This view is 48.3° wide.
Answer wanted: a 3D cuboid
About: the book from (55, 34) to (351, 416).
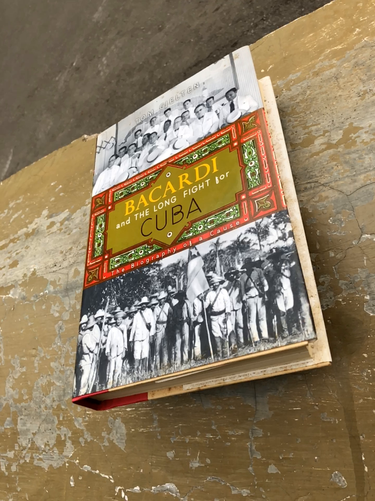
[{"bbox_3d":[-0.003,-0.026,0.312,0.170,0.050,0.250,-22,52,26],"label":"book"}]
